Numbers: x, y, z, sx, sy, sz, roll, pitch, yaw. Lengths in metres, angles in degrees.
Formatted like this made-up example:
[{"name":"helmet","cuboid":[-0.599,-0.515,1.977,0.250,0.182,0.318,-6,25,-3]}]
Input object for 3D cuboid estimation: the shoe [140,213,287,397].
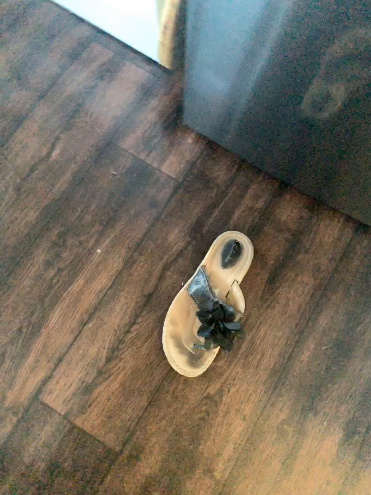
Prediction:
[{"name":"shoe","cuboid":[0.046,0.083,0.587,0.110,0.050,0.250,31,77,6]}]
